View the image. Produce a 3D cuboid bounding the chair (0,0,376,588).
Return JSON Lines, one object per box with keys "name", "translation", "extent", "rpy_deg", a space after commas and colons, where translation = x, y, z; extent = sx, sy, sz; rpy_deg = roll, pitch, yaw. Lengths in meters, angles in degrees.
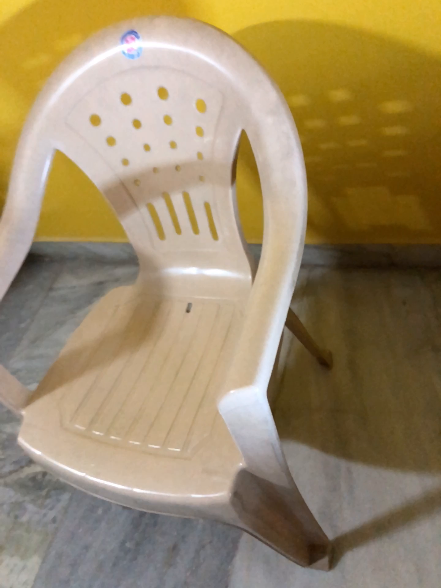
{"name": "chair", "translation": [-0.098, 0.064, 0.827], "extent": [0.530, 0.786, 0.562], "rpy_deg": [3, 57, 27]}
